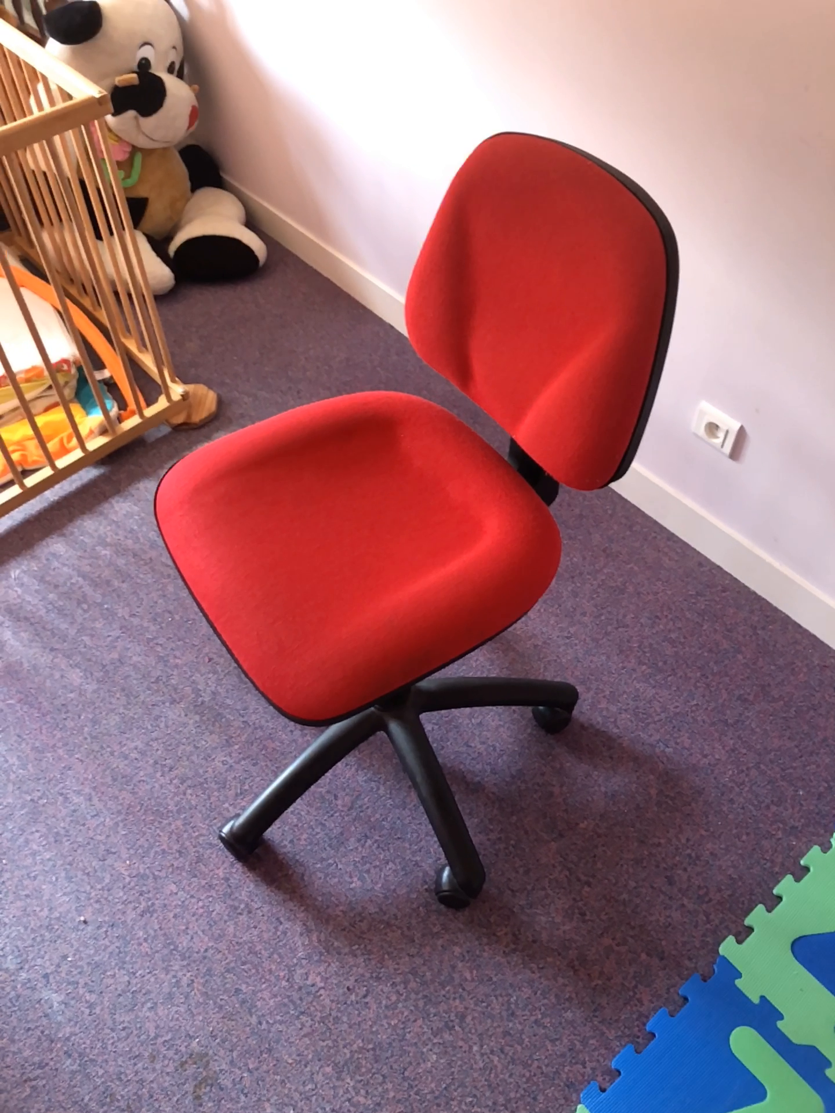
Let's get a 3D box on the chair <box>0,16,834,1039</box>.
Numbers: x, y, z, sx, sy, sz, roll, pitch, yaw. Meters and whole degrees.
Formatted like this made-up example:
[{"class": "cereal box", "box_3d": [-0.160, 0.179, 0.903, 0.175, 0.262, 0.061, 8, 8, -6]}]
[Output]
[{"class": "chair", "box_3d": [-0.050, -0.006, 1.136, 0.672, 0.896, 0.641, -27, 55, -20]}]
